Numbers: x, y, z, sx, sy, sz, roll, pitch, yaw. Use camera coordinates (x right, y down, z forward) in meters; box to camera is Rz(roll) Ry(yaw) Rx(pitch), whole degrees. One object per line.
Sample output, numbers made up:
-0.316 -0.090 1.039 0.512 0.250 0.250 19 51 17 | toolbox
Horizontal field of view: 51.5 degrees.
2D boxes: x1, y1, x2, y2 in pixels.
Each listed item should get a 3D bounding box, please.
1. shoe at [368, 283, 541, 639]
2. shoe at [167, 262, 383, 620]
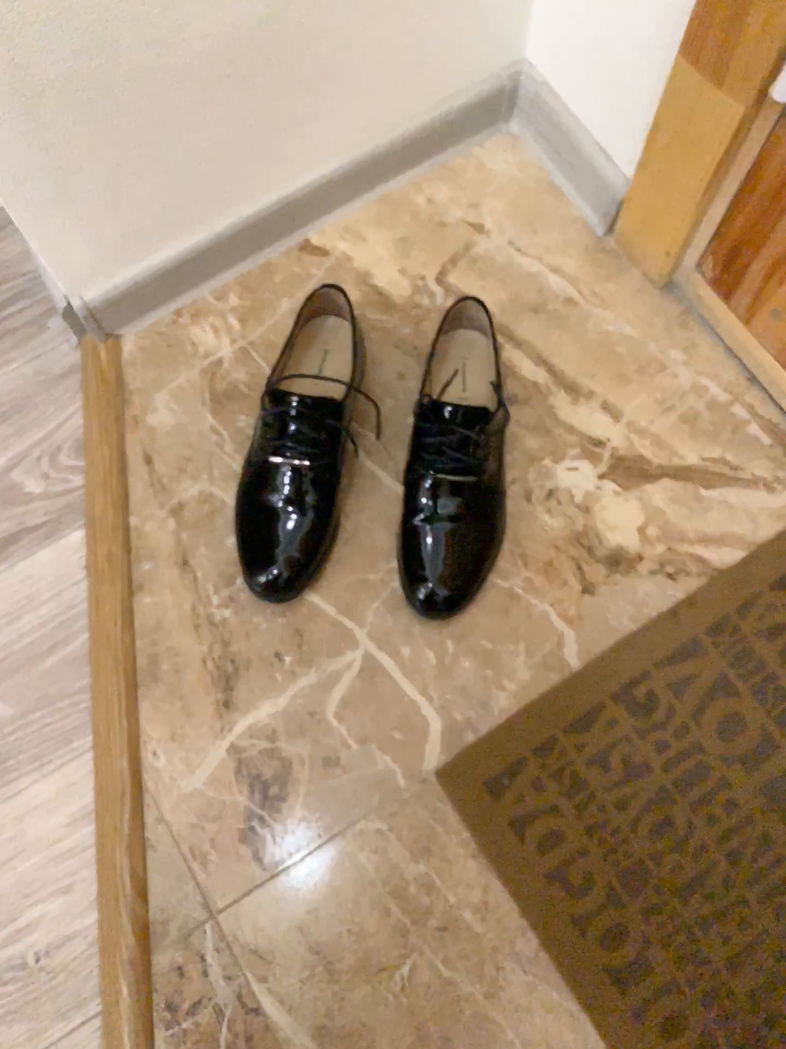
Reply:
0.046 -0.044 0.607 0.090 0.110 0.230 8 72 4 | shoe
-0.077 -0.059 0.611 0.086 0.110 0.230 12 73 5 | shoe
